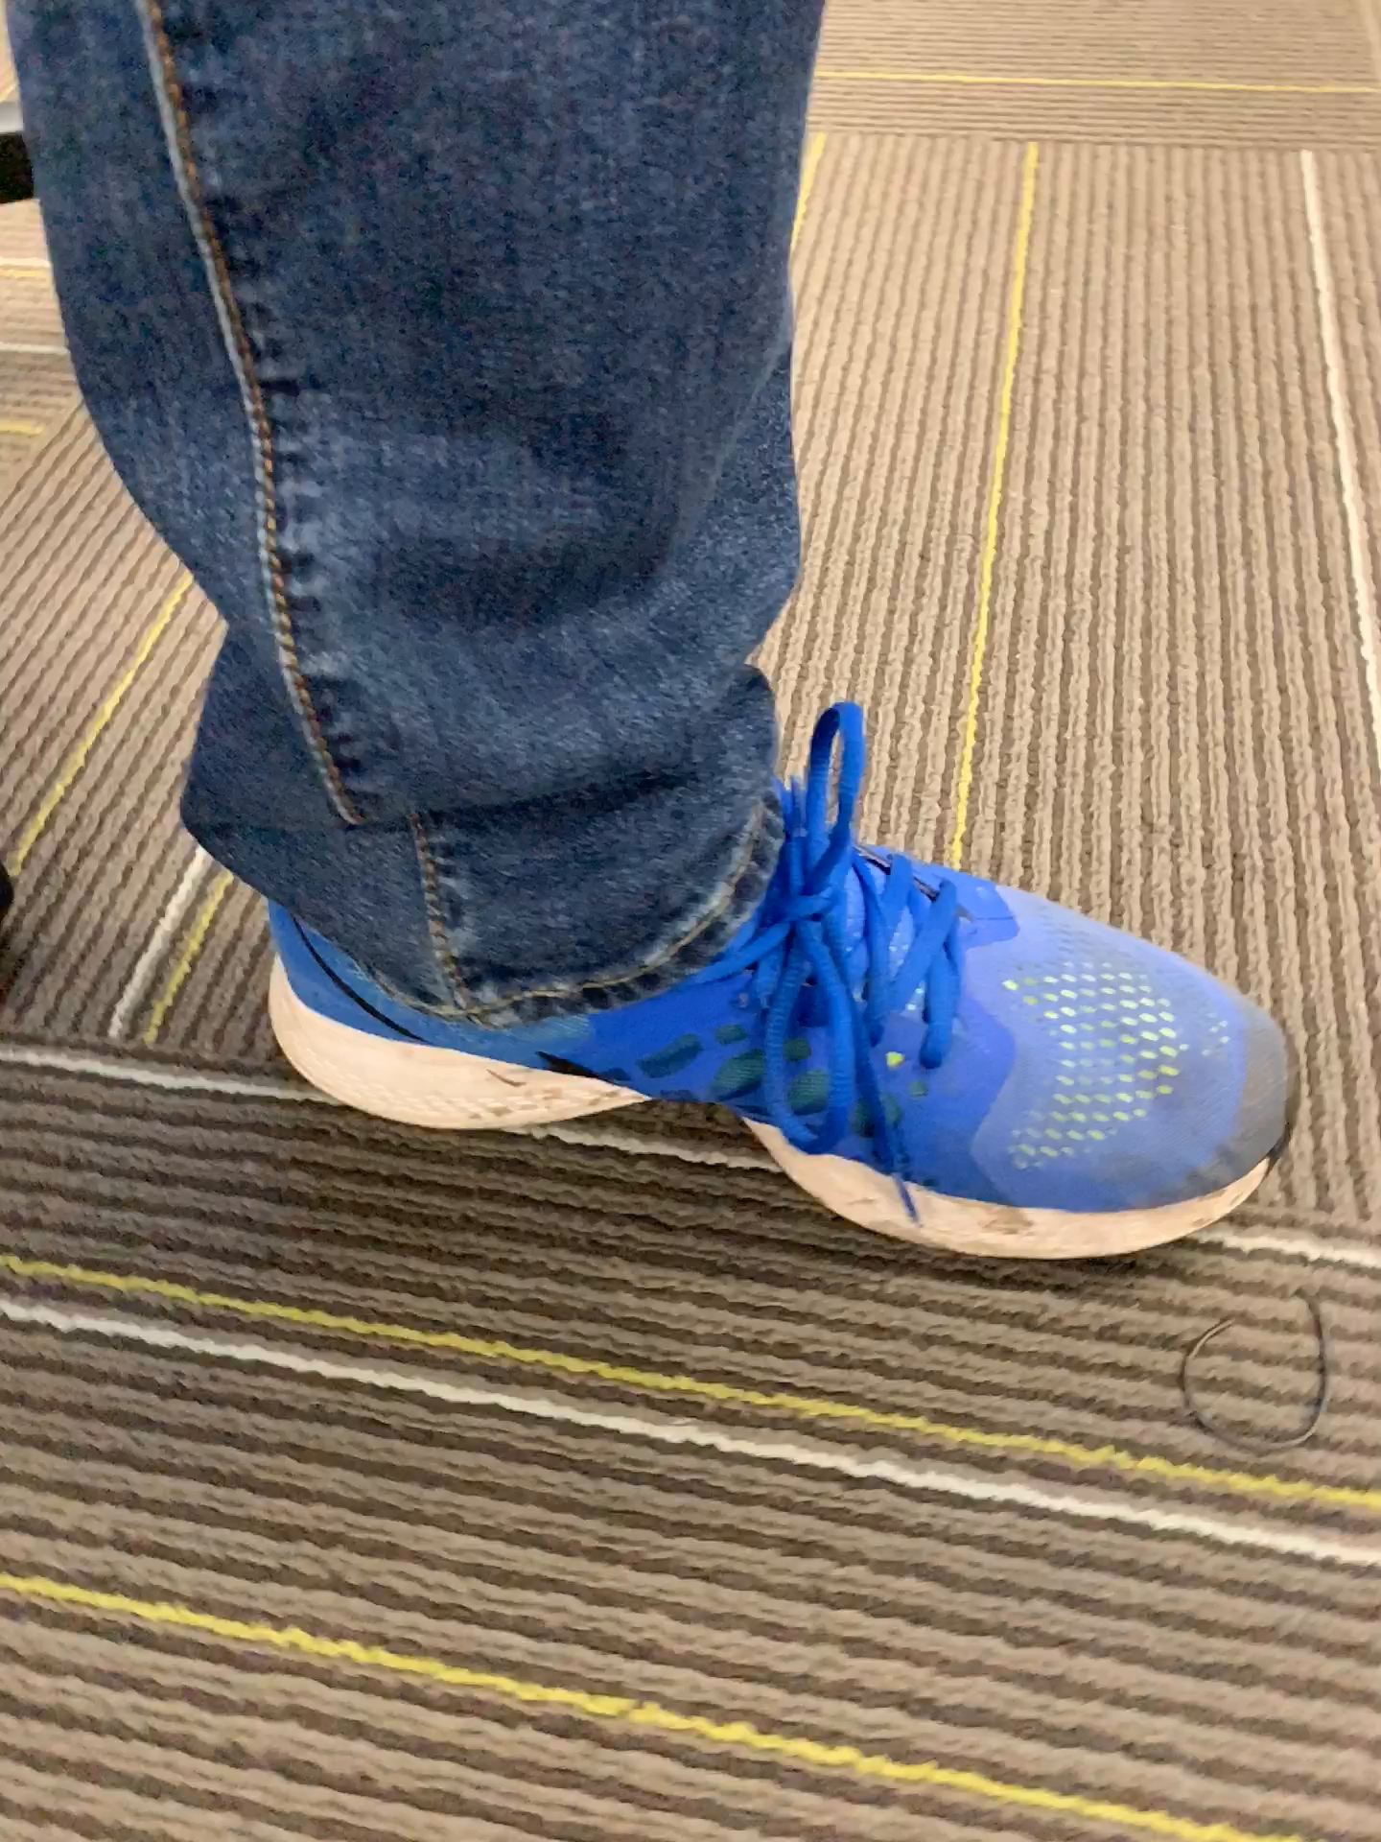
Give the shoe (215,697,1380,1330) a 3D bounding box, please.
[{"bbox_3d":[0.029,0.021,0.403,0.284,0.086,0.101,9,53,11],"label":"shoe"}]
